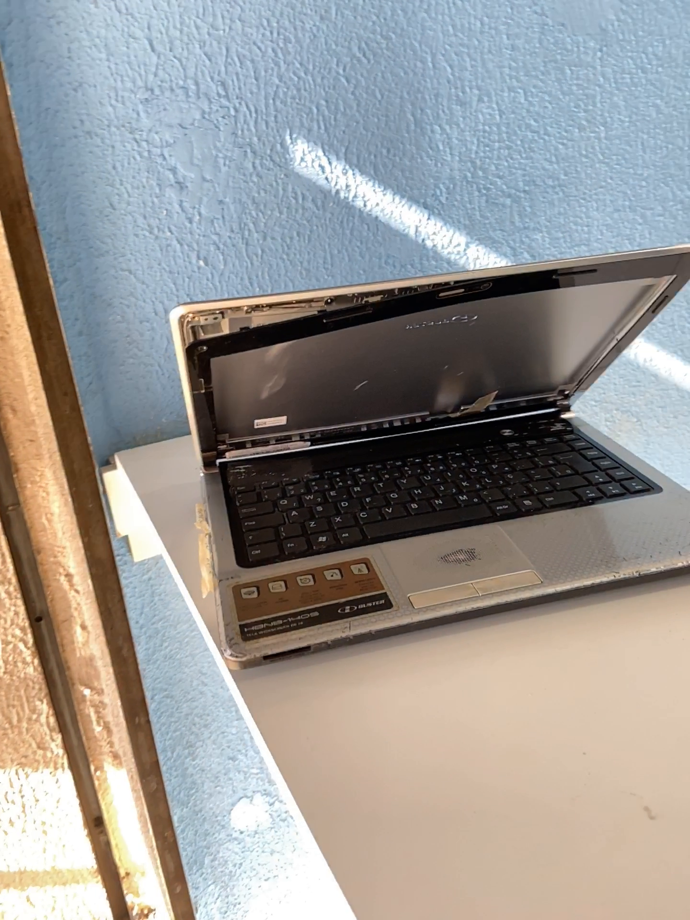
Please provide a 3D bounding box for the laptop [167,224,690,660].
[{"bbox_3d":[0.063,-0.044,0.470,0.326,0.160,0.233,-9,26,-11],"label":"laptop"}]
